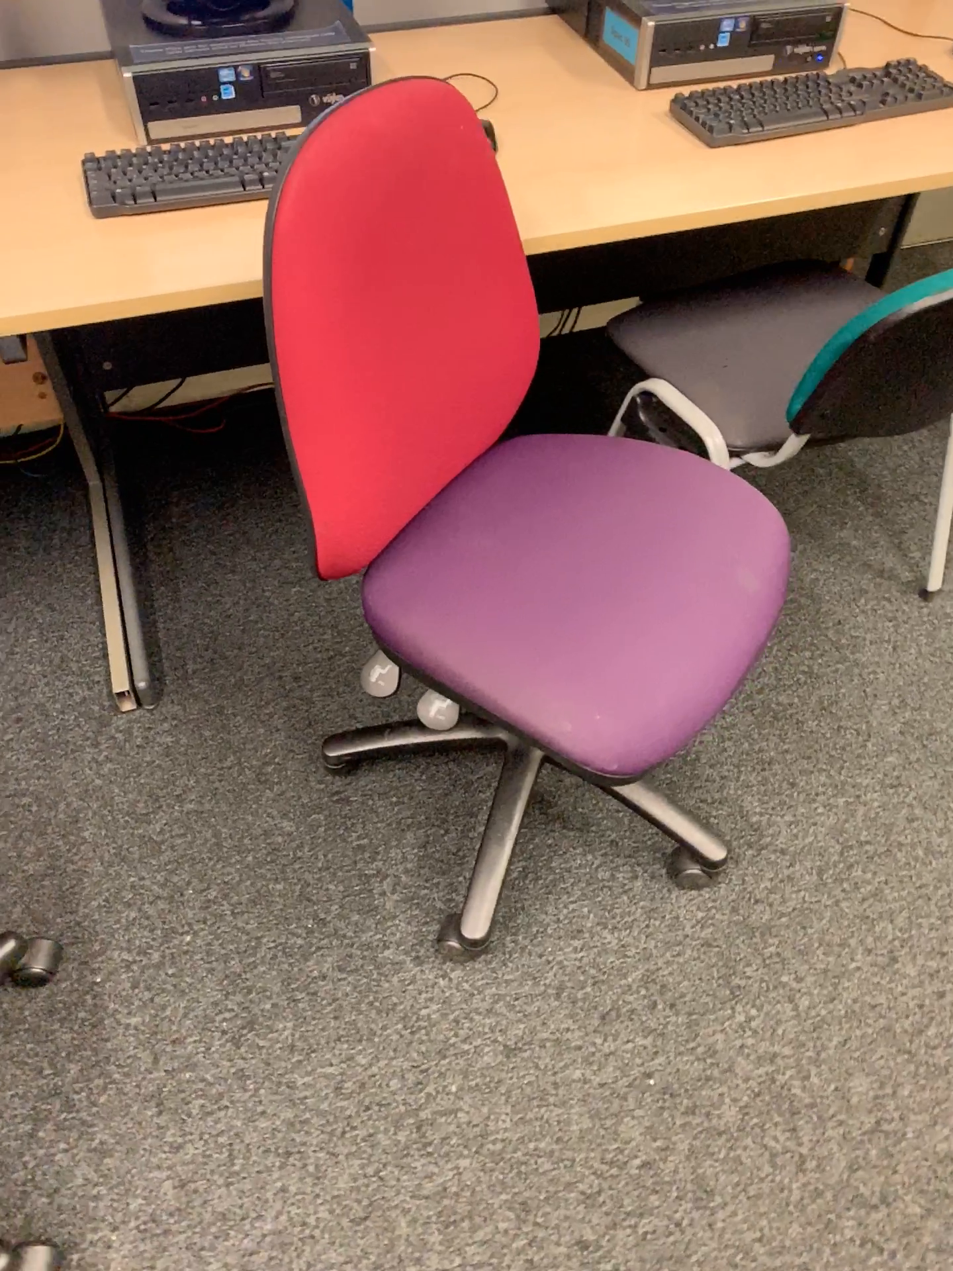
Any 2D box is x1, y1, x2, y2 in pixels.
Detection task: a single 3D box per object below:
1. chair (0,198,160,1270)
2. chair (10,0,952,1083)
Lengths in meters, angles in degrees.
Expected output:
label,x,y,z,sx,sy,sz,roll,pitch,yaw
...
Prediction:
label,x,y,z,sx,sy,sz,roll,pitch,yaw
chair,-0.709,0.254,0.746,0.599,0.829,0.608,-19,51,-17
chair,0.081,-0.099,1.105,0.600,0.869,0.657,28,53,23
